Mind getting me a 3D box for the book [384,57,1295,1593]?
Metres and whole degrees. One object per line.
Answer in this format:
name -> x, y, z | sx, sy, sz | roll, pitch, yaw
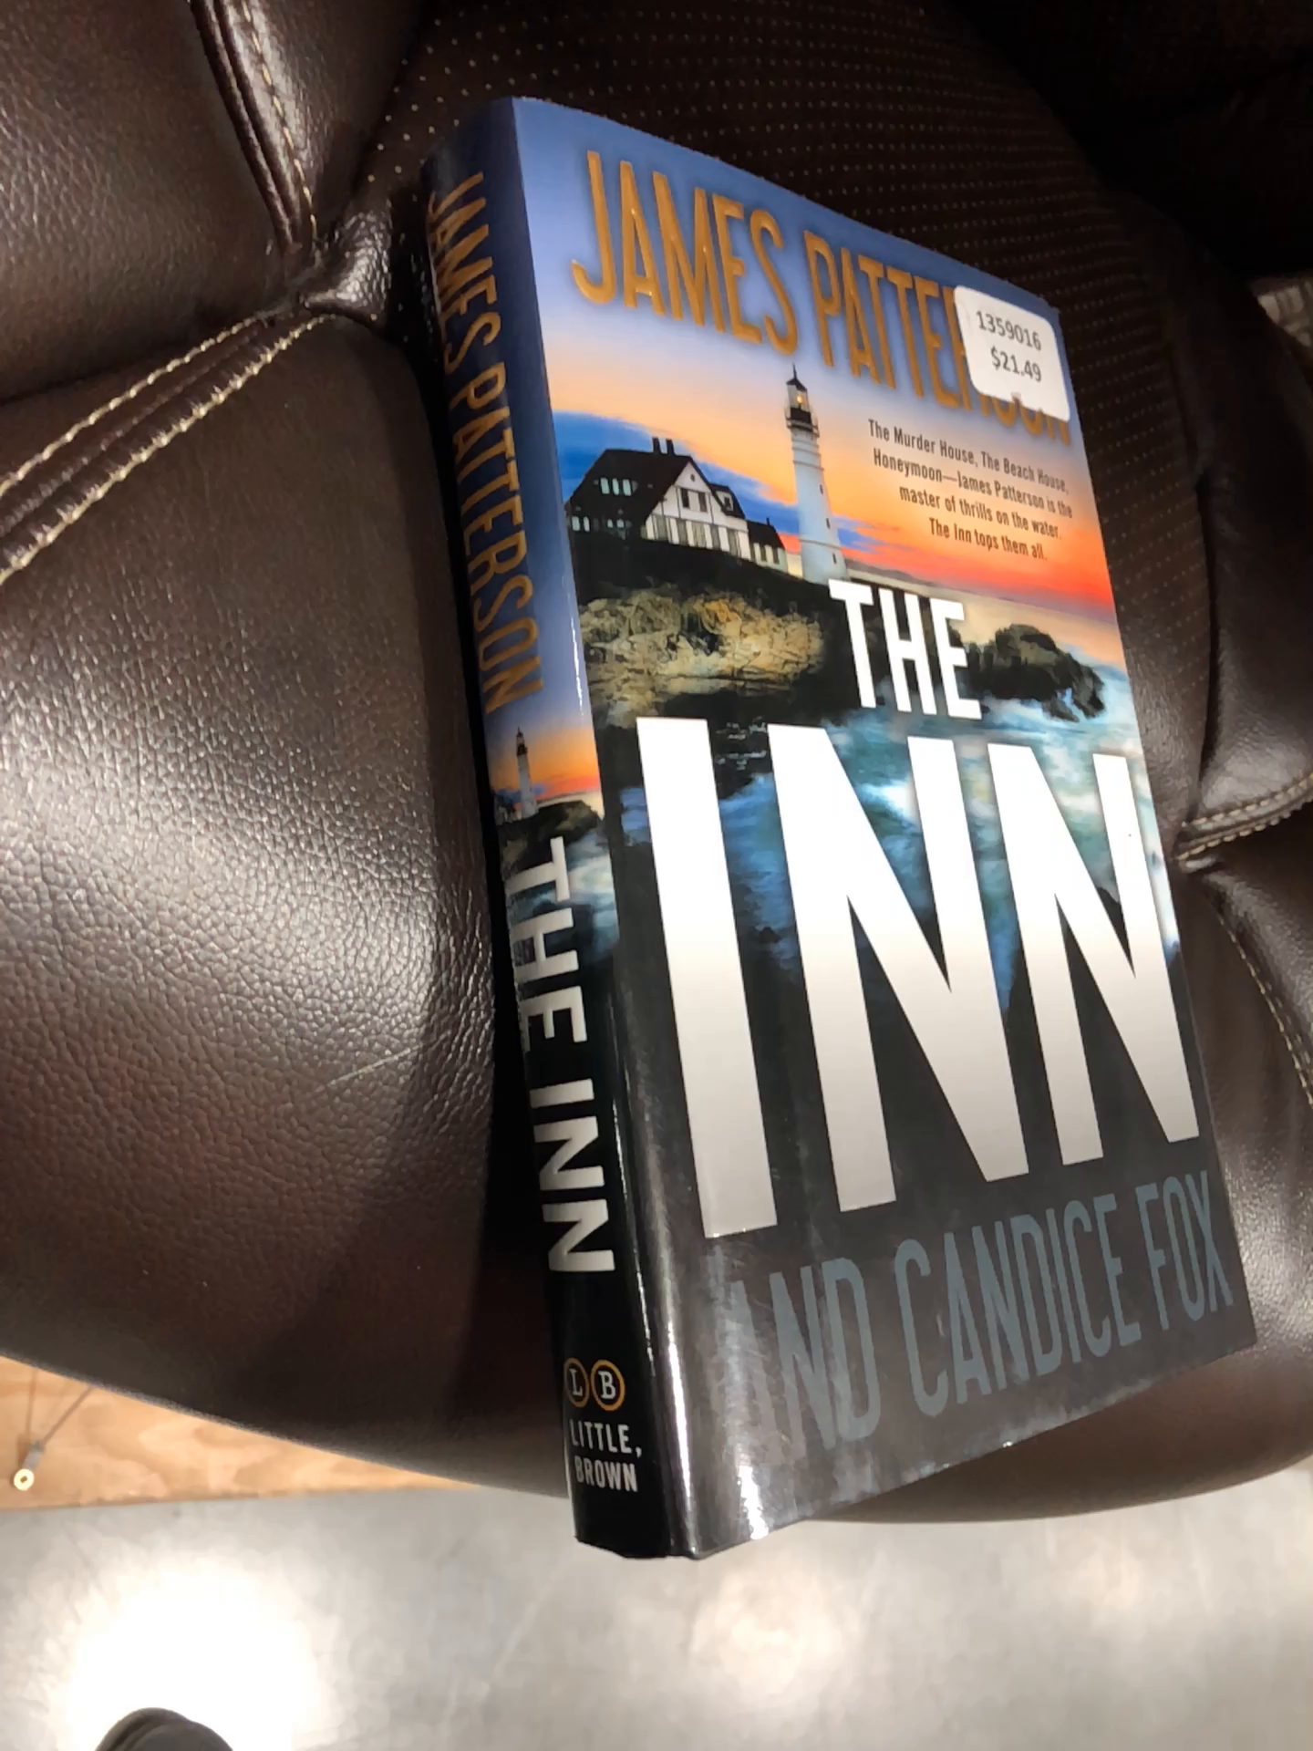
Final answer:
book -> 0.043, -0.015, 0.300 | 0.171, 0.040, 0.250 | 0, 78, -38
